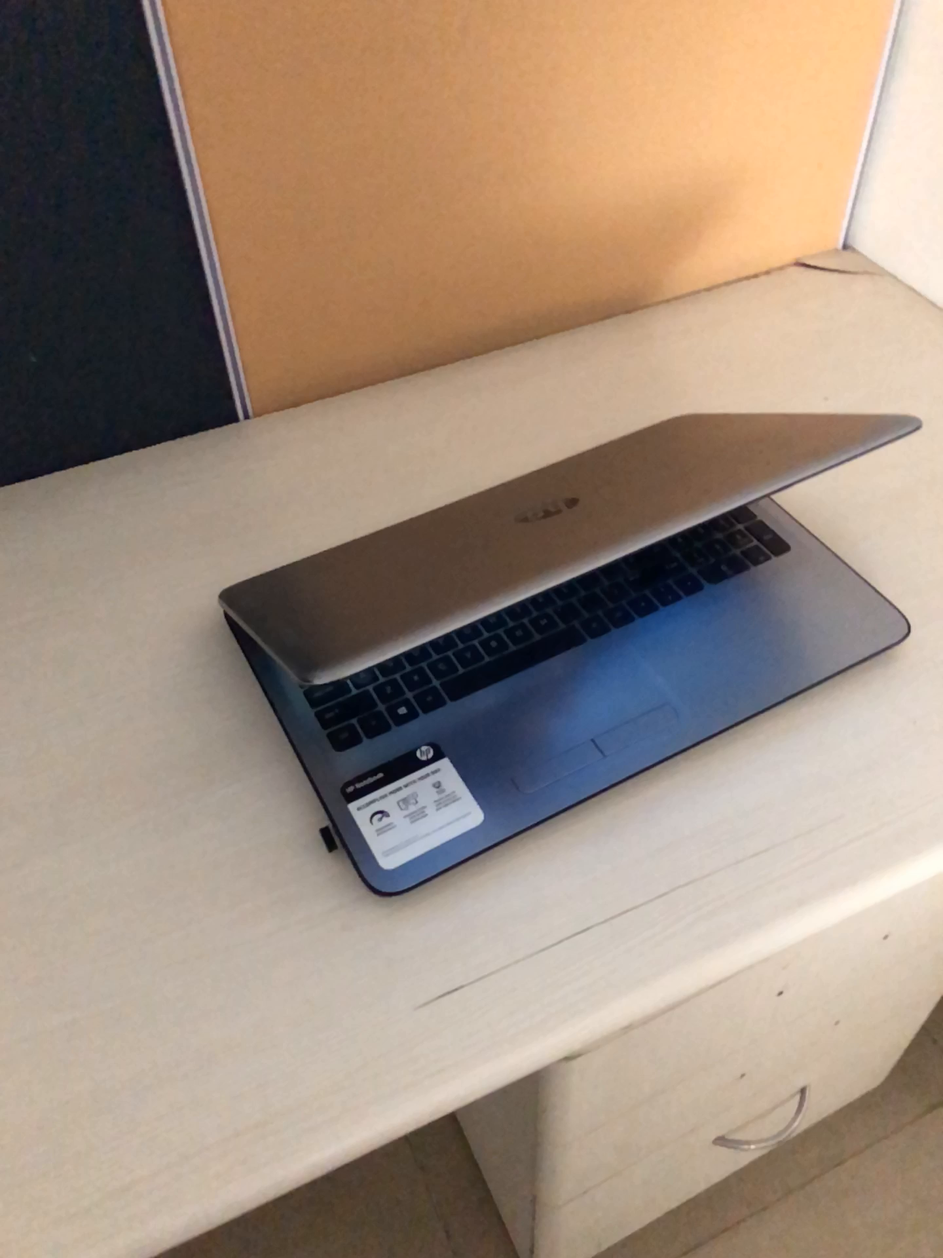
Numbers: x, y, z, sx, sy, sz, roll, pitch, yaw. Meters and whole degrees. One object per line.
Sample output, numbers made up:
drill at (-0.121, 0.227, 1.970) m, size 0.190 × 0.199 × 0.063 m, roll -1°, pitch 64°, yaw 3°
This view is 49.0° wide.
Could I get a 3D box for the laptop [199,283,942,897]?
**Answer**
laptop at (0.059, -0.050, 0.624) m, size 0.364 × 0.132 × 0.238 m, roll -23°, pitch 49°, yaw -19°
